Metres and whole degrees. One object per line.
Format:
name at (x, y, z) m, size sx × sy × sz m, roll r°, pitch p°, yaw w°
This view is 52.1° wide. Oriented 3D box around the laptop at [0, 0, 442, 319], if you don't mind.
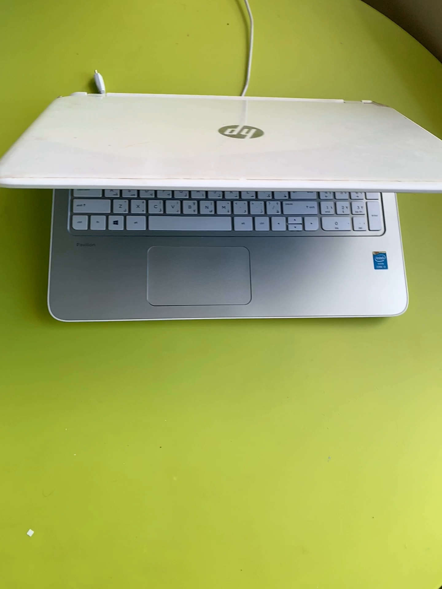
laptop at (0.019, -0.116, 0.414) m, size 0.367 × 0.163 × 0.243 m, roll -1°, pitch 77°, yaw -6°
